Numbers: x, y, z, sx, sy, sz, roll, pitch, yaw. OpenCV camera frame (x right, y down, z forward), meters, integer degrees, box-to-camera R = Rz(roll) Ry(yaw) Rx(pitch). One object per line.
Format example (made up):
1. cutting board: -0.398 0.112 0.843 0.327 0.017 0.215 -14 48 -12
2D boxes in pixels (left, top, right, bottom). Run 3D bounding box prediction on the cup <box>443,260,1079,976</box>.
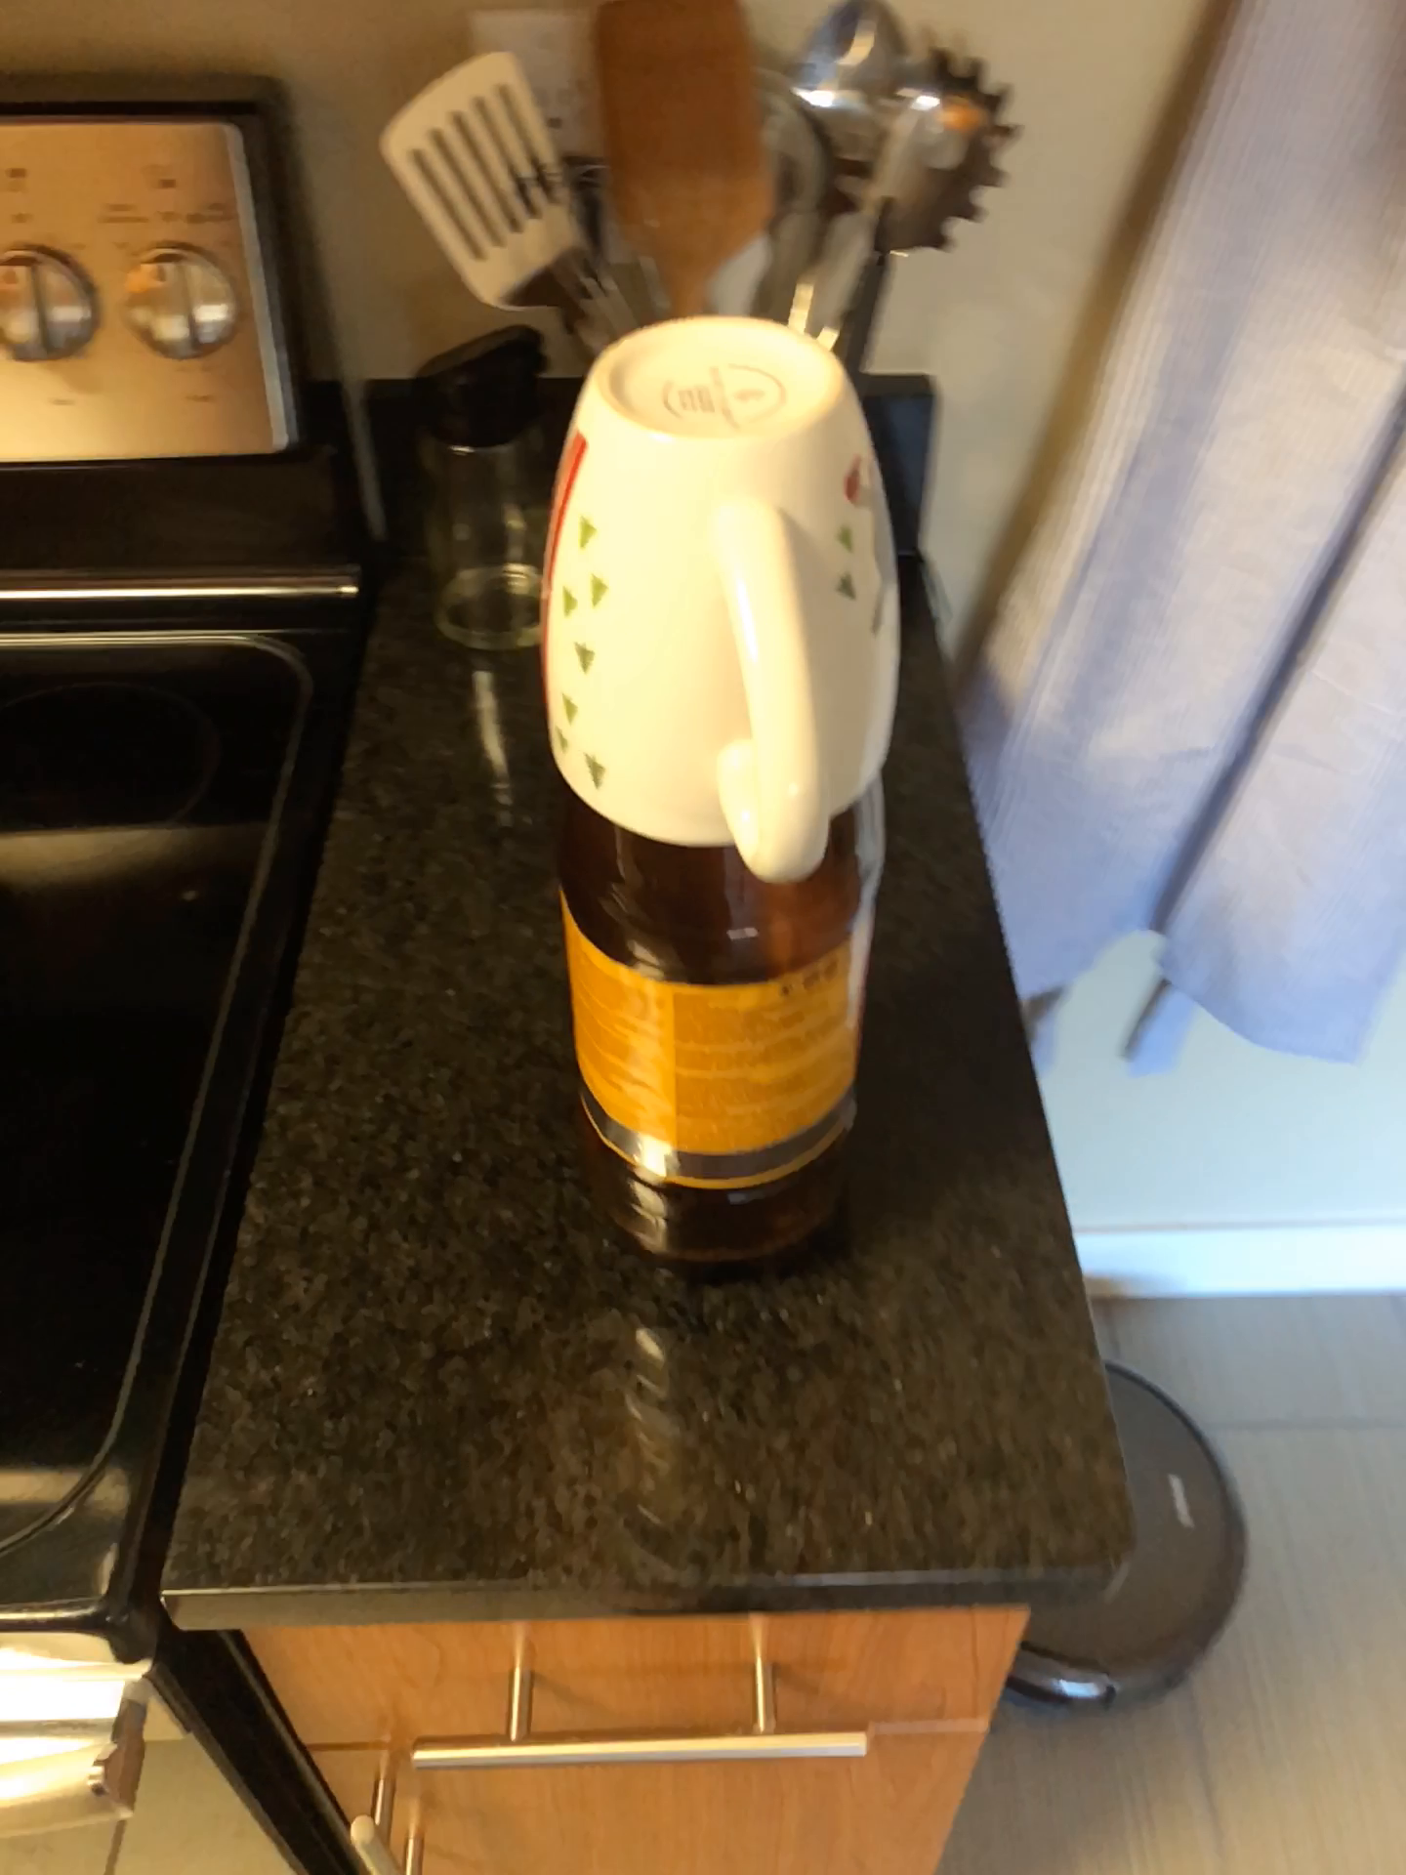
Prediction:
1. cup: 0.007 -0.089 0.407 0.100 0.109 0.141 -17 47 -17
